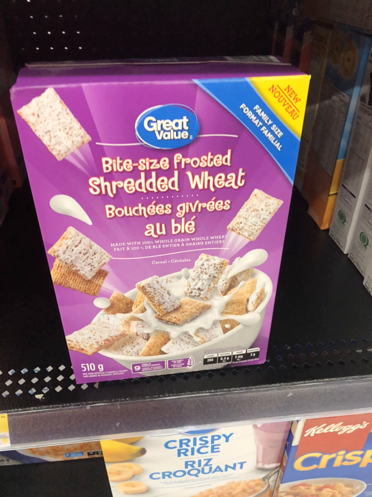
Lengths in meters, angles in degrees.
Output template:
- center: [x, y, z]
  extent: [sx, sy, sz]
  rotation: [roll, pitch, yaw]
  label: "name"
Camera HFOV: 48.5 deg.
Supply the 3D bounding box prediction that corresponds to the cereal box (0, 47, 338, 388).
- center: [-0.015, -0.010, 0.352]
  extent: [0.210, 0.279, 0.070]
  rotation: [-4, 34, -6]
  label: "cereal box"
